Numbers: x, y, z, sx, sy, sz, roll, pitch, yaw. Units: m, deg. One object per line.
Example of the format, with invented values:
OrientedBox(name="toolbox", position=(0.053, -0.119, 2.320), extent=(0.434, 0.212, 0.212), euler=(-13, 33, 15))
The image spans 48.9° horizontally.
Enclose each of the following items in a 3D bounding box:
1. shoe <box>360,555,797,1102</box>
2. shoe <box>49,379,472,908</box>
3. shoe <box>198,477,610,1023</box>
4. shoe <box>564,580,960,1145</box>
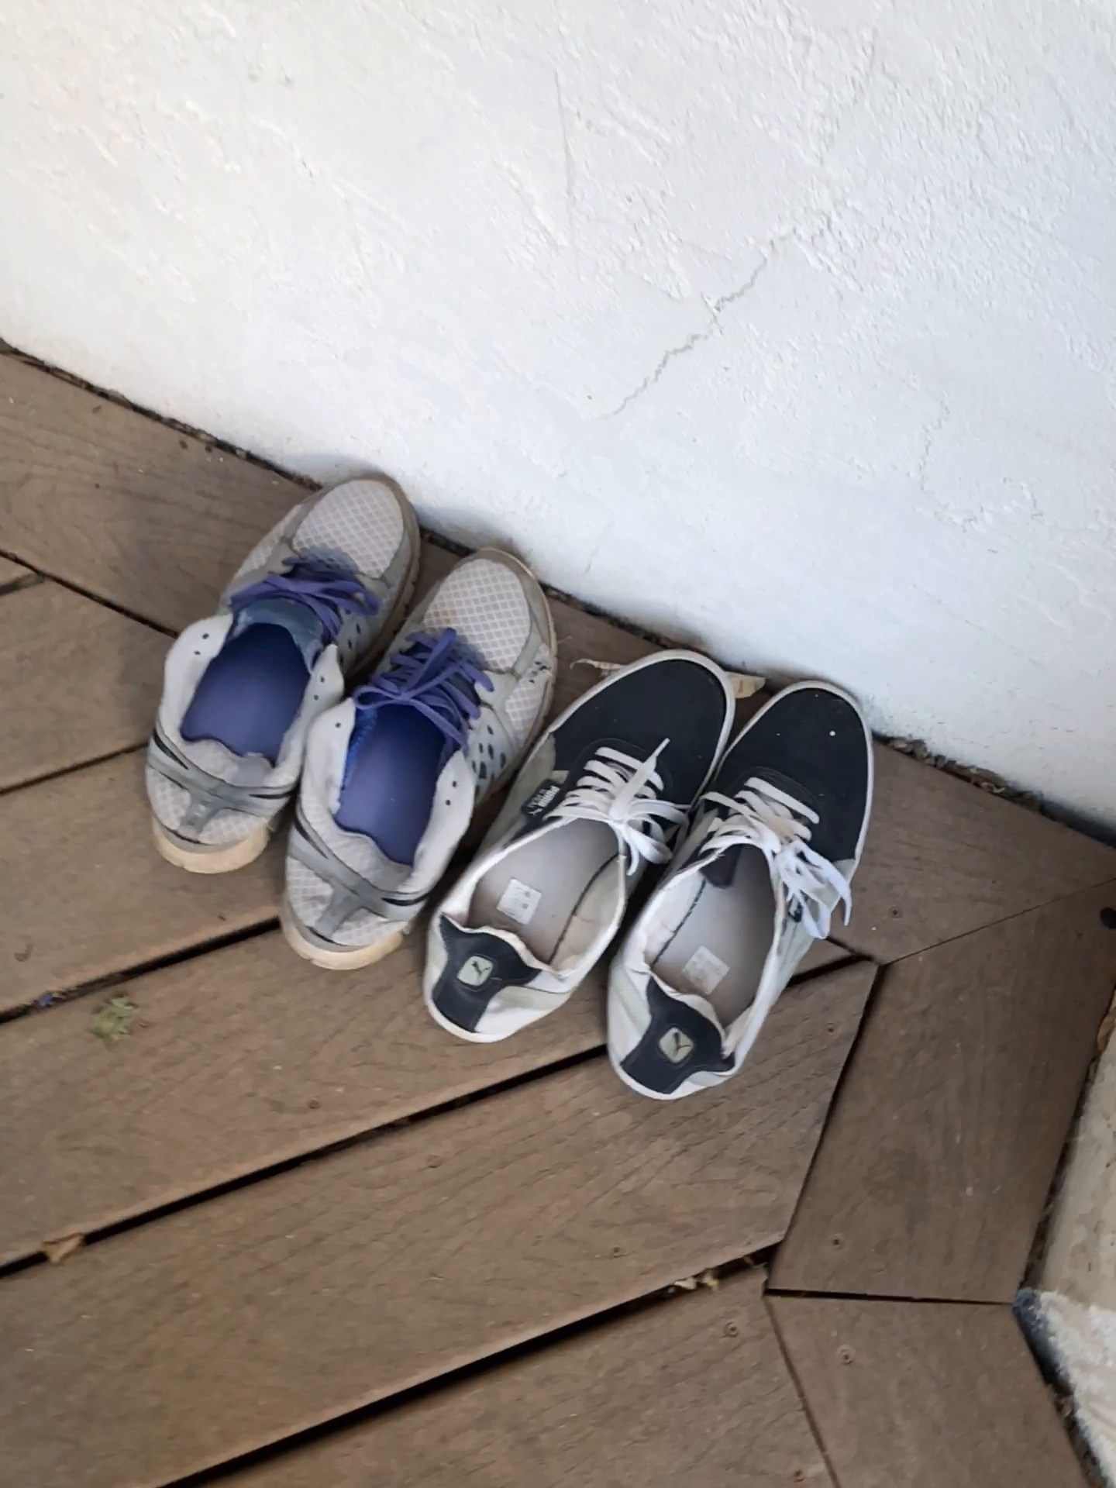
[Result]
OrientedBox(name="shoe", position=(0.018, 0.053, 0.789), extent=(0.120, 0.100, 0.320), euler=(29, 74, 9))
OrientedBox(name="shoe", position=(-0.184, -0.069, 0.822), extent=(0.120, 0.100, 0.320), euler=(24, 73, 7))
OrientedBox(name="shoe", position=(-0.088, 0.002, 0.798), extent=(0.120, 0.100, 0.320), euler=(24, 73, 7))
OrientedBox(name="shoe", position=(0.130, 0.075, 0.791), extent=(0.120, 0.100, 0.330), euler=(25, 73, 7))
